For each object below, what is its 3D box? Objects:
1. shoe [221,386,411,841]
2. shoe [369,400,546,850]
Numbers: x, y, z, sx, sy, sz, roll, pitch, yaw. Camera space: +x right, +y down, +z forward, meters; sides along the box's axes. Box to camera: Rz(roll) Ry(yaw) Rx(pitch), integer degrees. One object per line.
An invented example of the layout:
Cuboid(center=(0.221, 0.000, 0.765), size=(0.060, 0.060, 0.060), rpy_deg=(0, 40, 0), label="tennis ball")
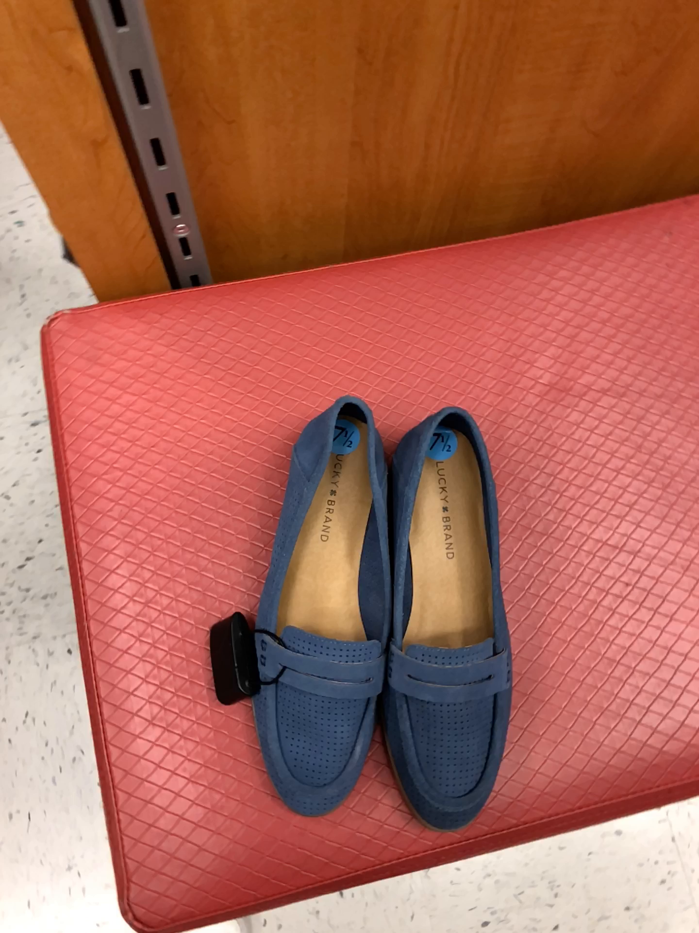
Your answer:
Cuboid(center=(-0.016, 0.084, 0.479), size=(0.082, 0.069, 0.253), rpy_deg=(6, 73, -1), label="shoe")
Cuboid(center=(0.060, 0.092, 0.484), size=(0.085, 0.069, 0.258), rpy_deg=(0, 73, -3), label="shoe")
